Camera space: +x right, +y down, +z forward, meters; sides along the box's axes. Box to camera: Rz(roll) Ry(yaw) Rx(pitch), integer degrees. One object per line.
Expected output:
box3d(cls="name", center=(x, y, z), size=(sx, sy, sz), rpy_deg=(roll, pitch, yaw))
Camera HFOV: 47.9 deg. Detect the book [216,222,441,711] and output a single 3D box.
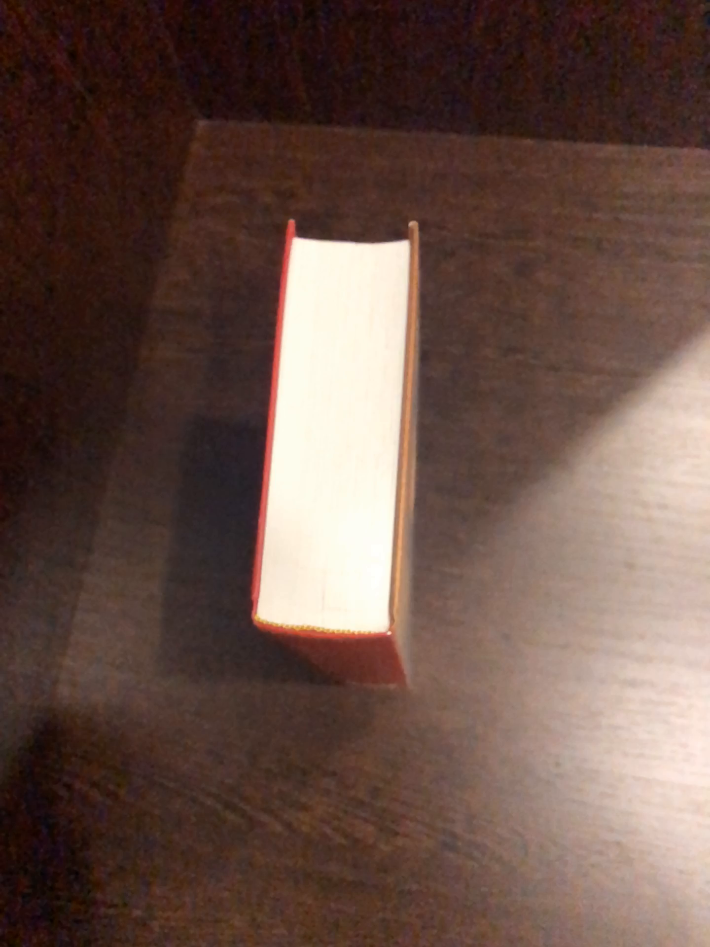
box3d(cls="book", center=(-0.001, 0.019, 0.323), size=(0.054, 0.202, 0.137), rpy_deg=(3, 72, 3))
